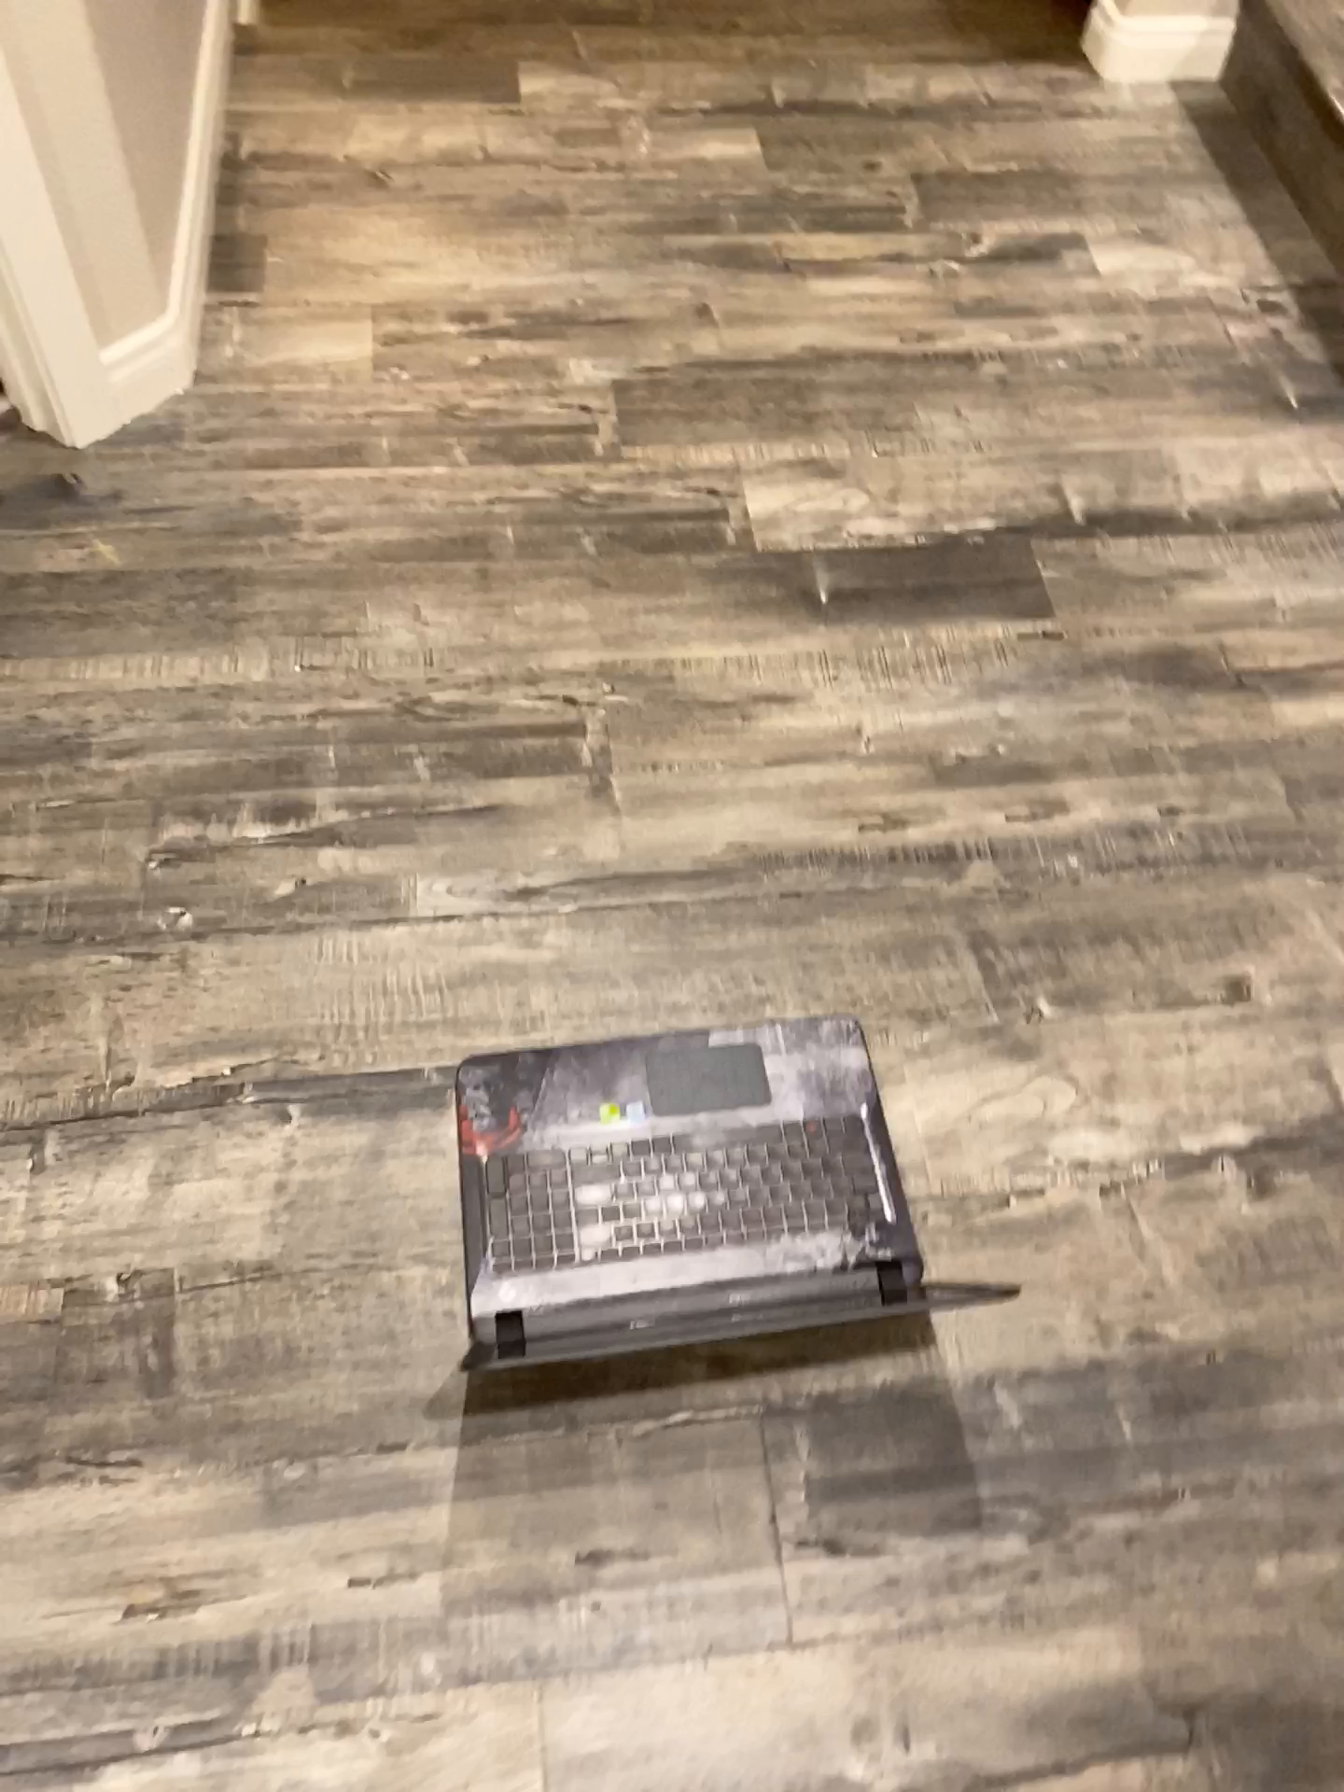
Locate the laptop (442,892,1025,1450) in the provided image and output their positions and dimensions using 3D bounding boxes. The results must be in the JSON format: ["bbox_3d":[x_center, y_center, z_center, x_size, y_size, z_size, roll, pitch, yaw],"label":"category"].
[{"bbox_3d":[0.023,0.210,1.074,0.371,0.225,0.328,-5,56,-8],"label":"laptop"}]
